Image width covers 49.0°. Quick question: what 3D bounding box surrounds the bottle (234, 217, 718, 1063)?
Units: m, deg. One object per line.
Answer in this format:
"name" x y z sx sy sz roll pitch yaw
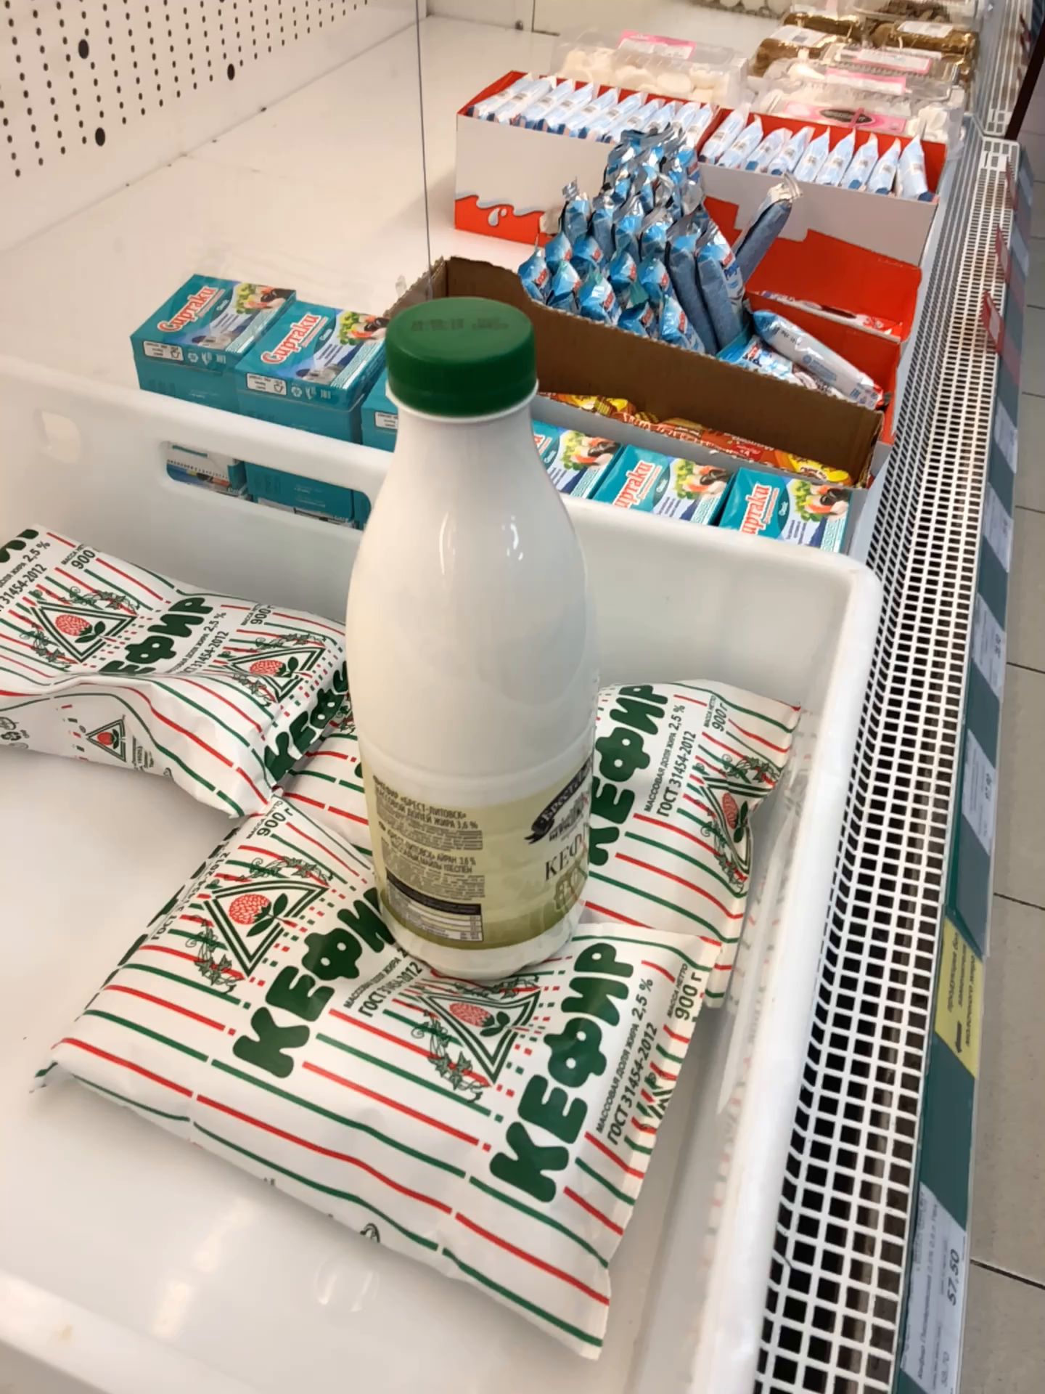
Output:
"bottle" -0.019 -0.002 0.389 0.090 0.268 0.090 3 43 -3
